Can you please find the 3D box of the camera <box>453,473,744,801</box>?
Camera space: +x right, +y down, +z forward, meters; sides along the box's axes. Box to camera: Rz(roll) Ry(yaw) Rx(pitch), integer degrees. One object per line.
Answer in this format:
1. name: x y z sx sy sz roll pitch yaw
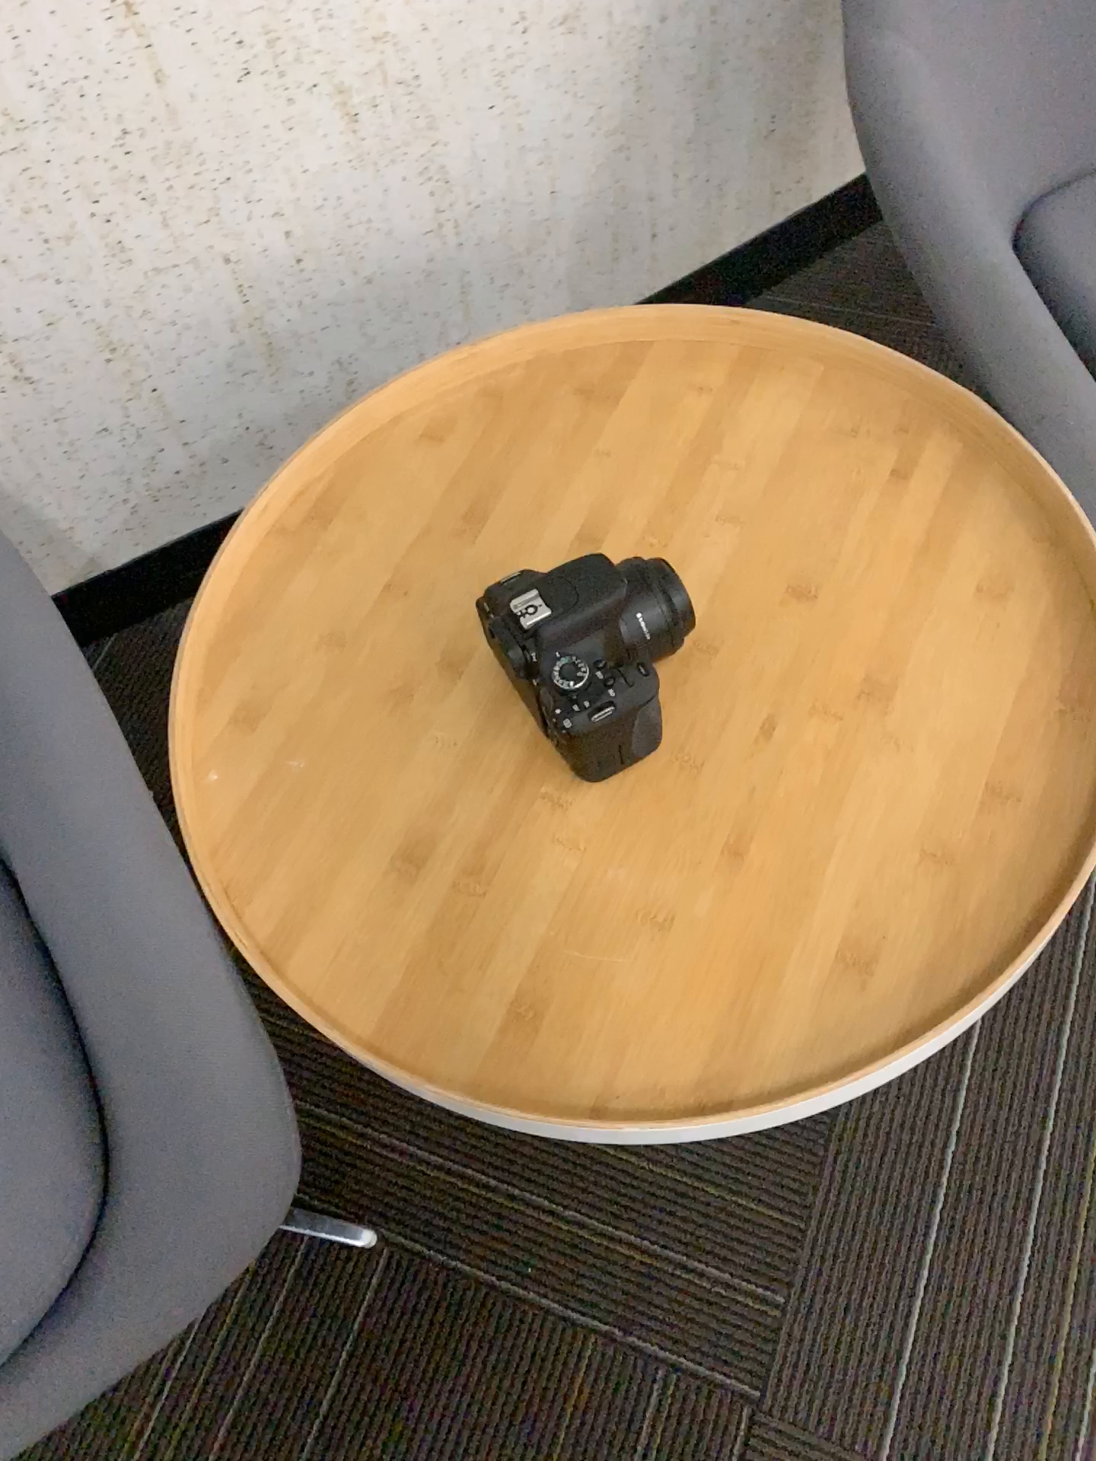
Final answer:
1. camera: 0.032 -0.057 0.691 0.117 0.100 0.134 -29 62 -8
